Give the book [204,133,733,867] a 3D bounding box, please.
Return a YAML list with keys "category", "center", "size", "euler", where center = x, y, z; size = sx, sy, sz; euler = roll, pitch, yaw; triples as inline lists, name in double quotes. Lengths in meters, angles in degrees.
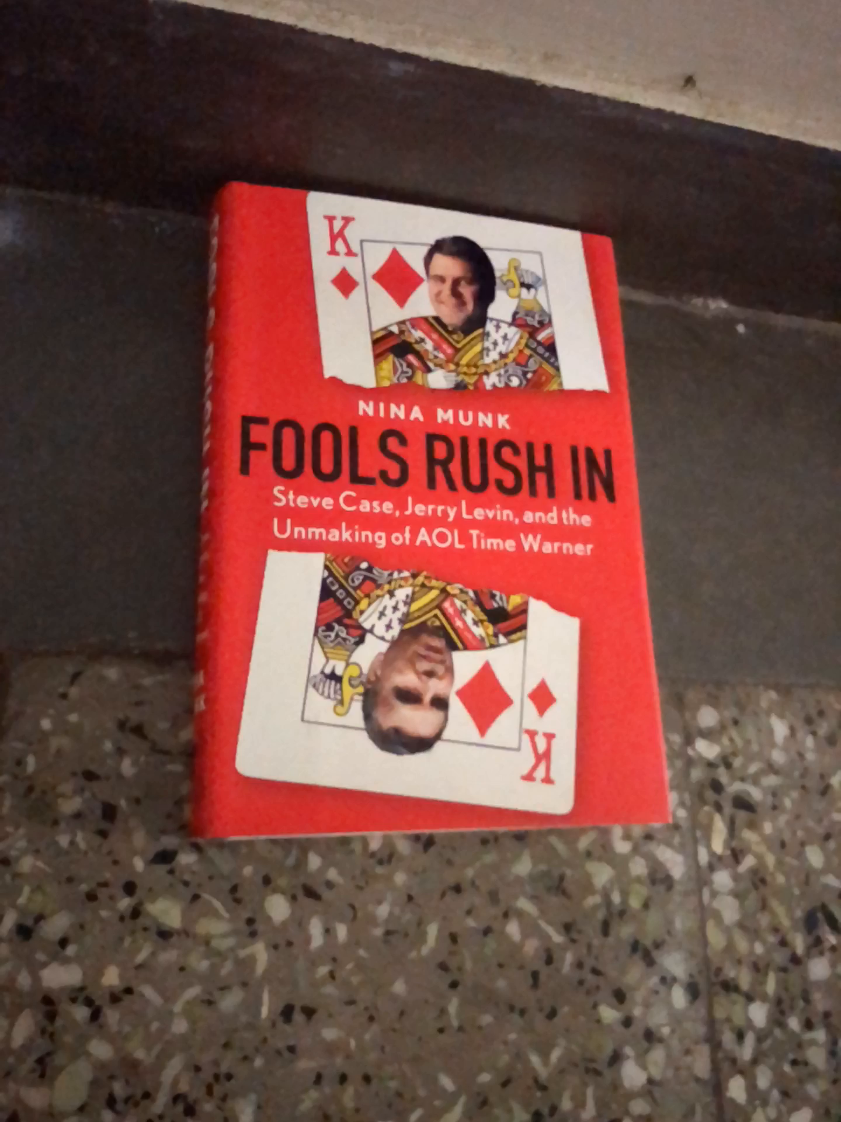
- category: "book"
  center: [0.012, -0.030, 0.362]
  size: [0.180, 0.030, 0.270]
  euler: [2, 71, -16]
